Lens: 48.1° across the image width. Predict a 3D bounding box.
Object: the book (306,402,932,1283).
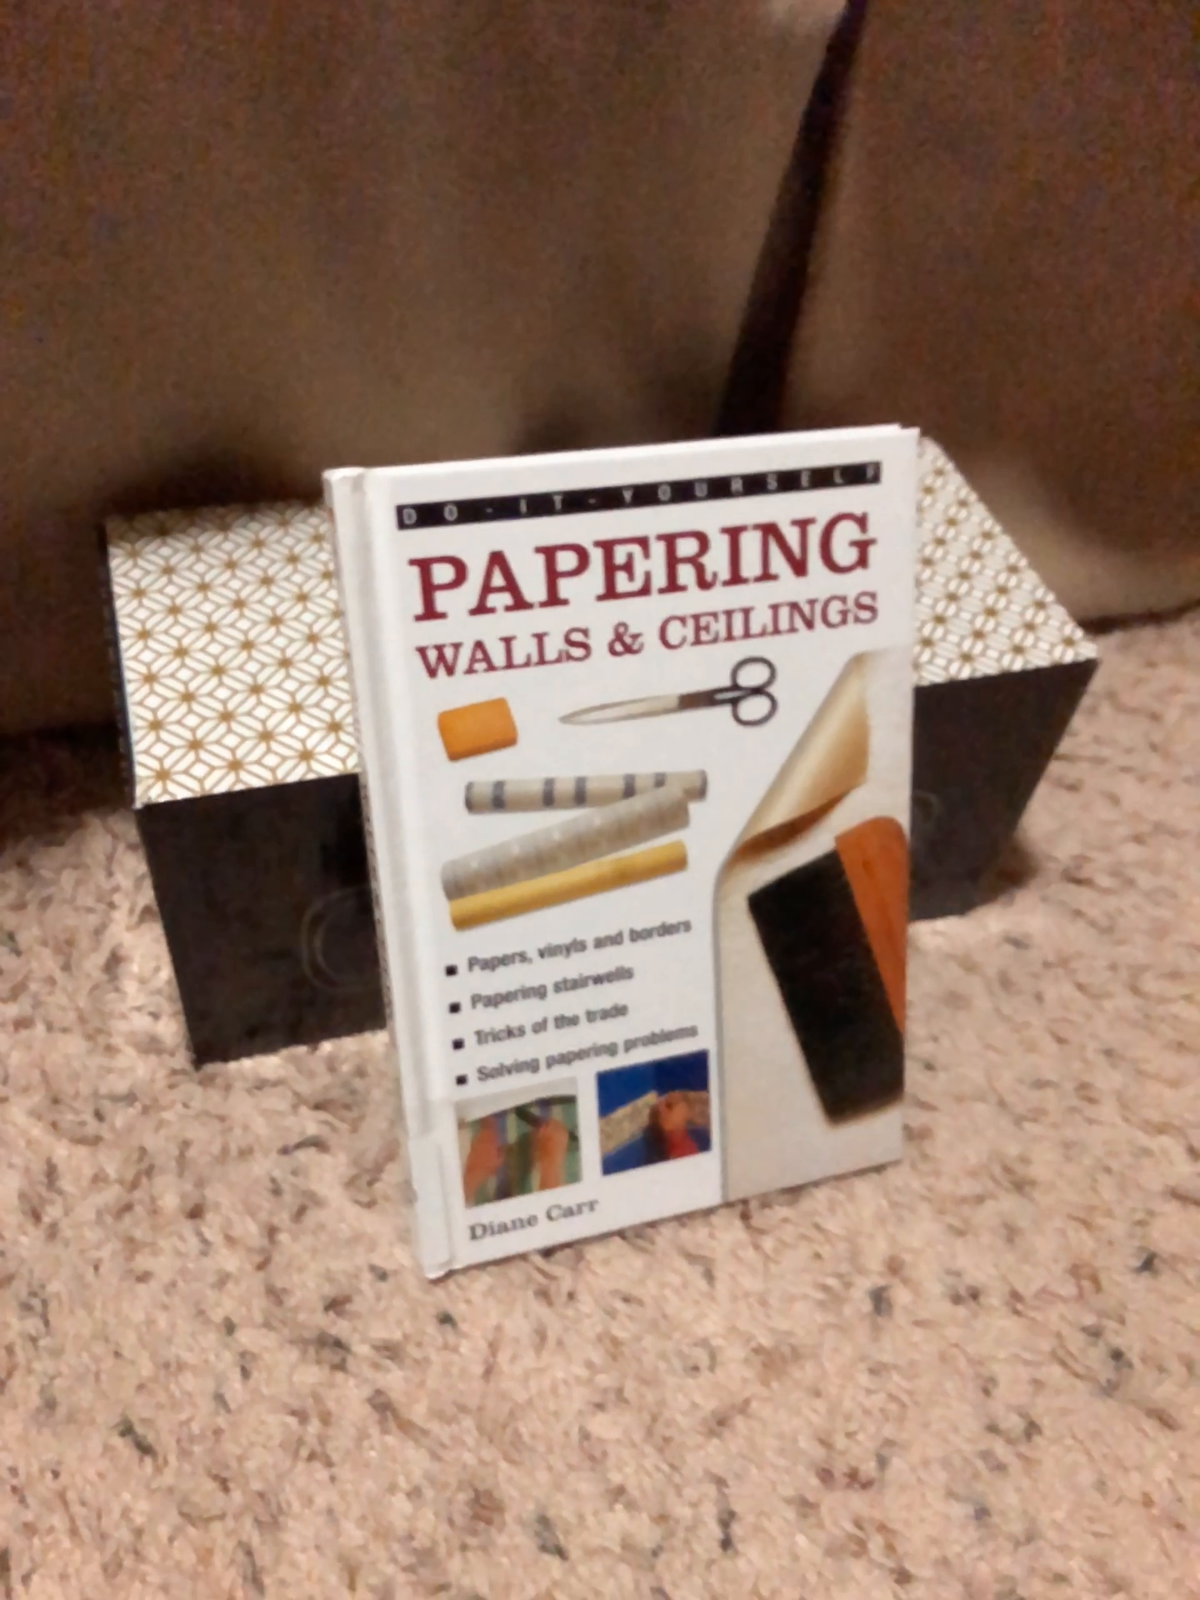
[{"bbox_3d":[0.013,0.014,0.336,0.143,0.207,0.015,-9,20,-16],"label":"book"}]
